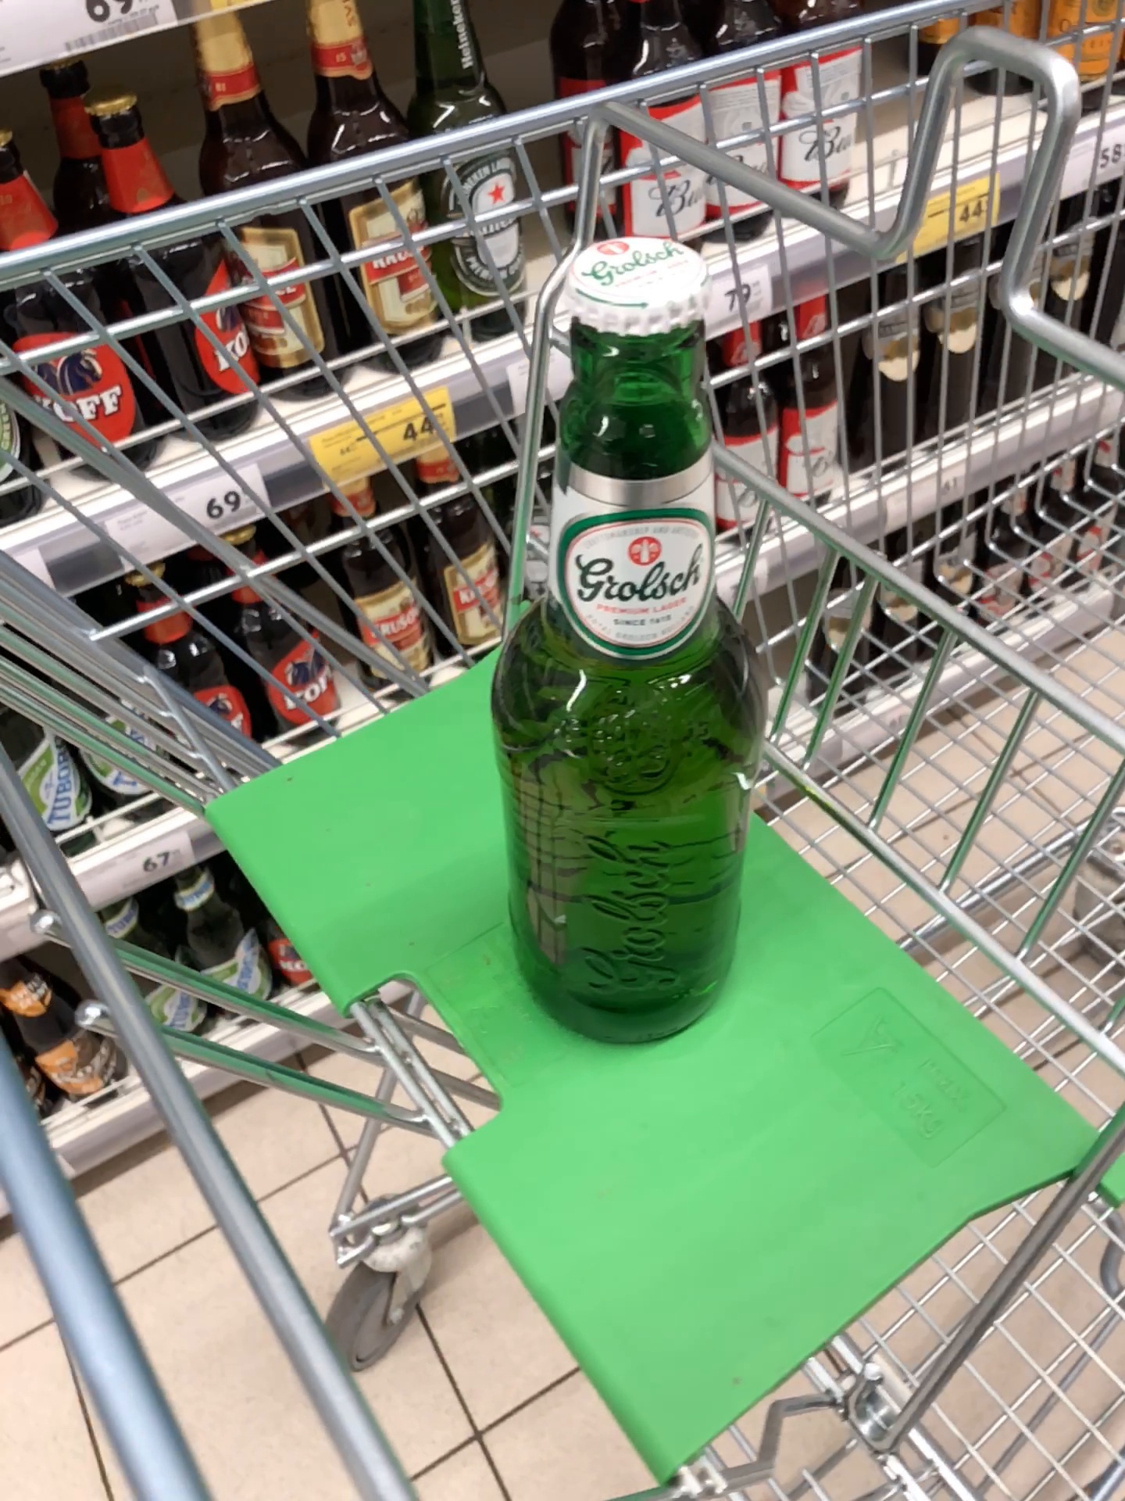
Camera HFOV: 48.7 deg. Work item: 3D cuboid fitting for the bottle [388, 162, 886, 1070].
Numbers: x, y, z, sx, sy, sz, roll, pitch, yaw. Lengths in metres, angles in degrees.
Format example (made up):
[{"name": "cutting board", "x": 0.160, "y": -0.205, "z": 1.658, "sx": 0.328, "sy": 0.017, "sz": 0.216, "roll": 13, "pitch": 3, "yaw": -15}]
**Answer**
[{"name": "bottle", "x": 0.017, "y": -0.013, "z": 0.309, "sx": 0.080, "sy": 0.219, "sz": 0.080, "roll": -3, "pitch": 49, "yaw": 3}]
